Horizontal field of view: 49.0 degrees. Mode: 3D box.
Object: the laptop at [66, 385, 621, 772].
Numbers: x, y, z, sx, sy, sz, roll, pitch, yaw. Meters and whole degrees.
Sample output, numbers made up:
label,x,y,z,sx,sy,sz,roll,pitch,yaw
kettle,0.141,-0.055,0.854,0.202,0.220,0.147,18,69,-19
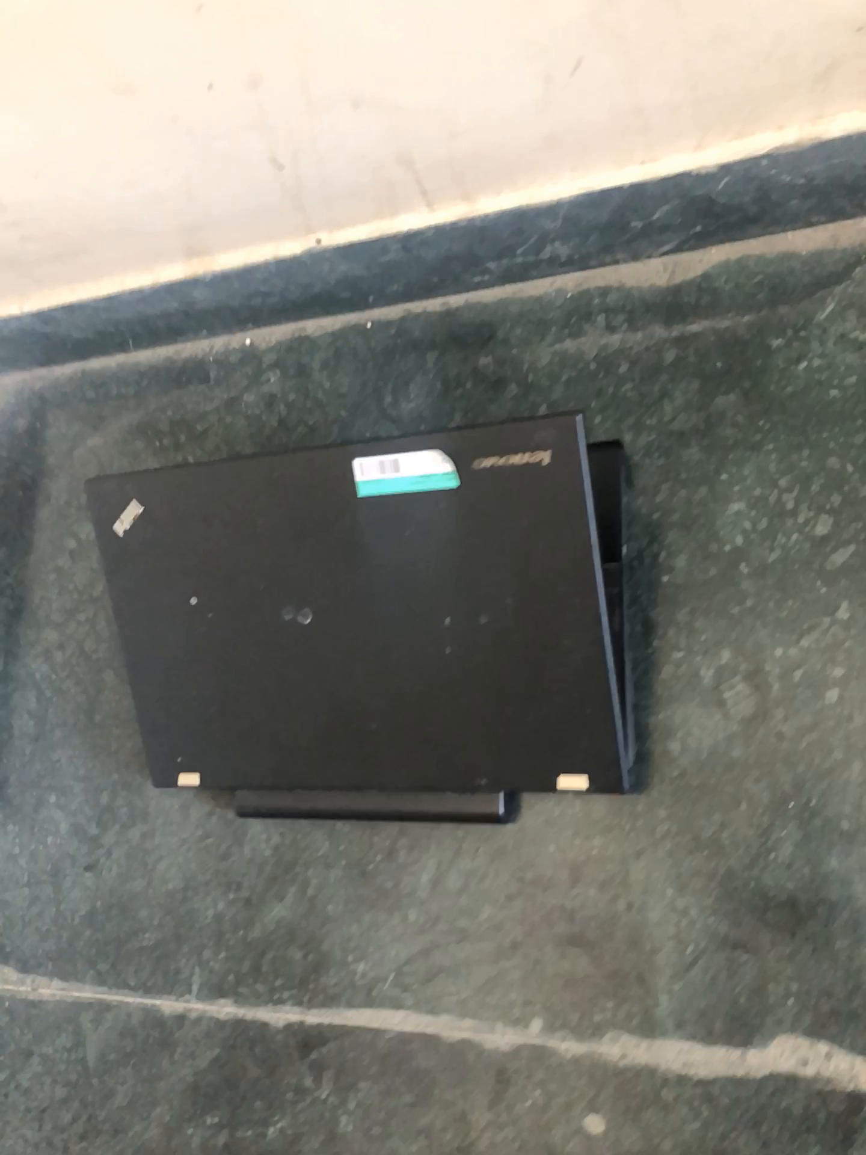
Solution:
label,x,y,z,sx,sy,sz,roll,pitch,yaw
laptop,-0.060,0.015,0.646,0.349,0.095,0.227,-4,74,20
